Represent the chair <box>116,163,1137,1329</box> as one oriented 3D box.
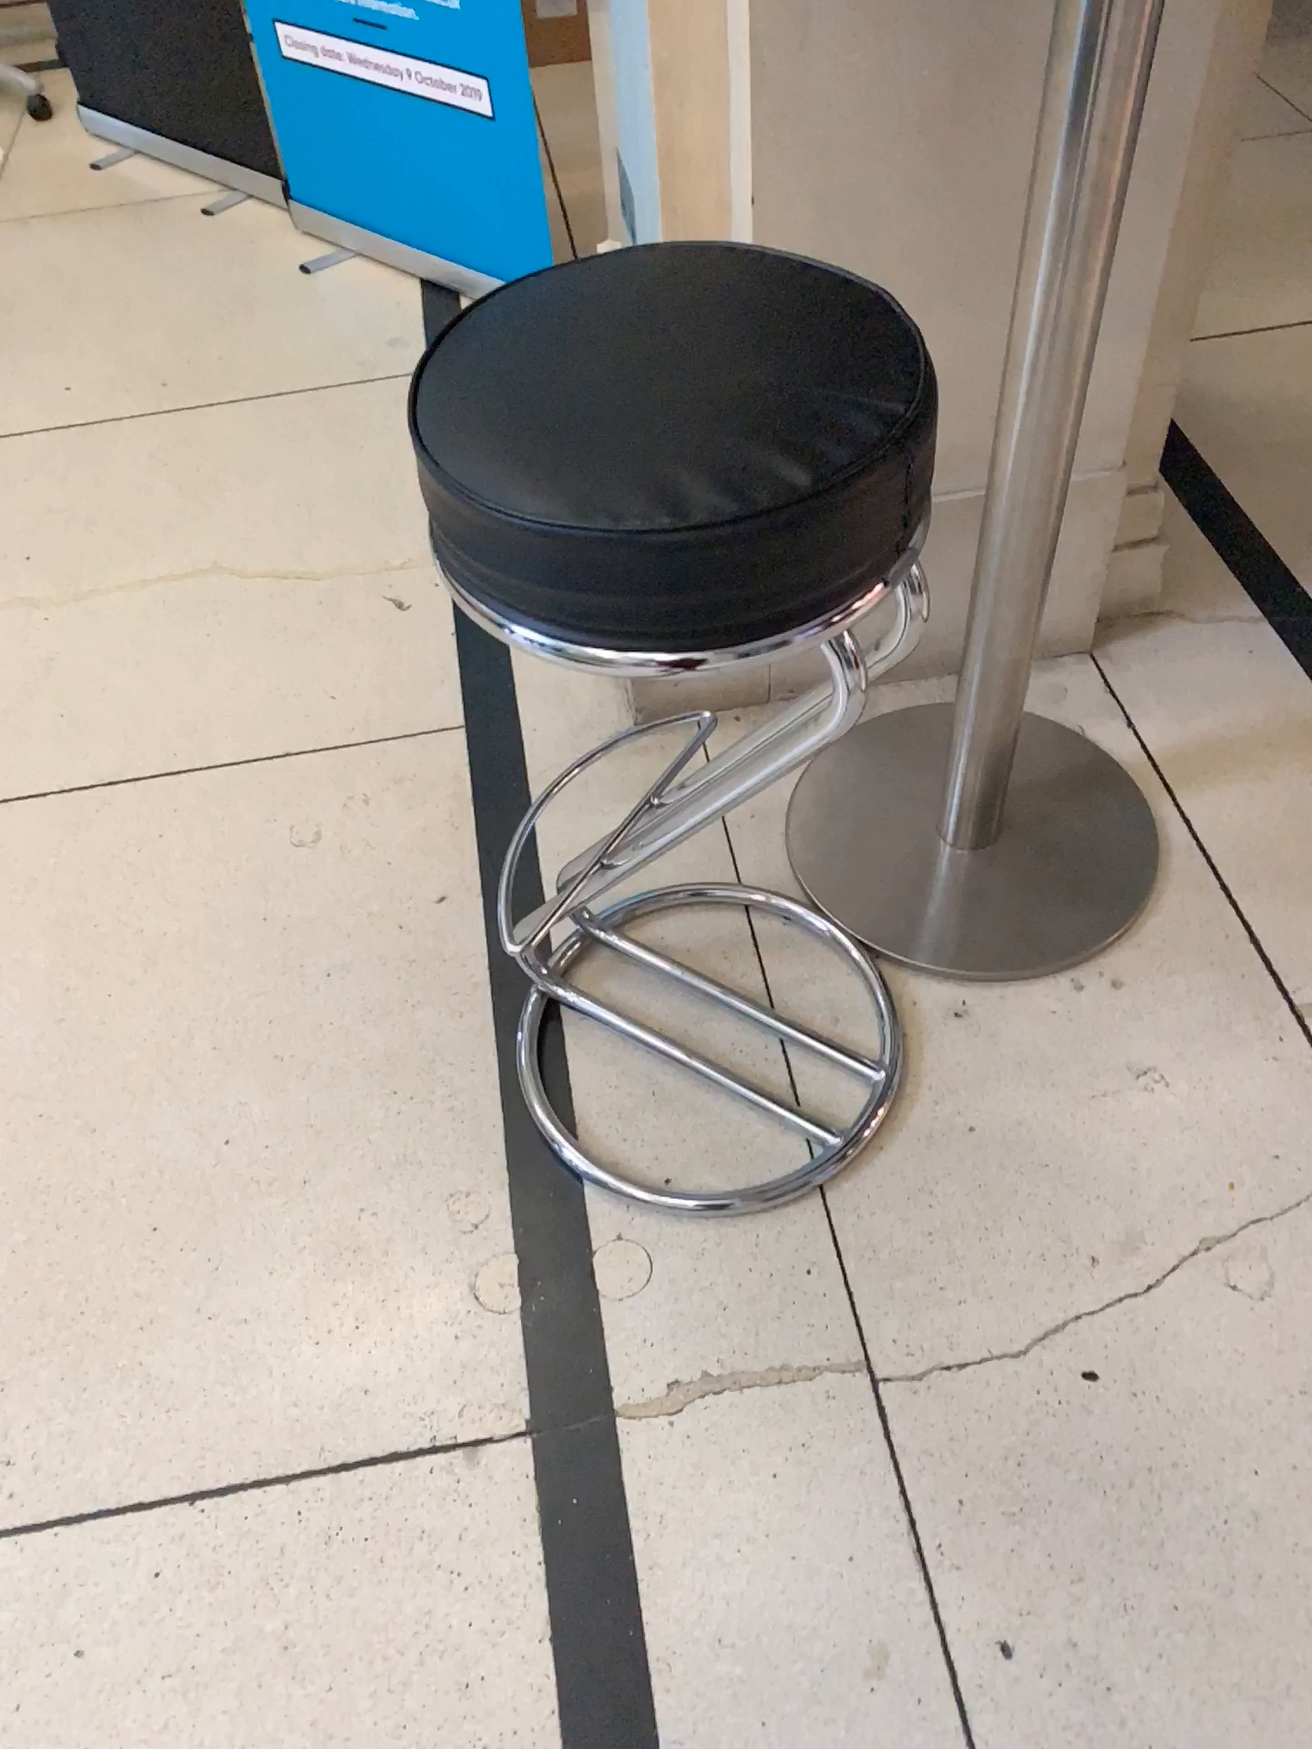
[{"bbox_3d":[0.026,-0.075,1.179,0.504,0.813,0.467,21,55,22],"label":"chair"}]
